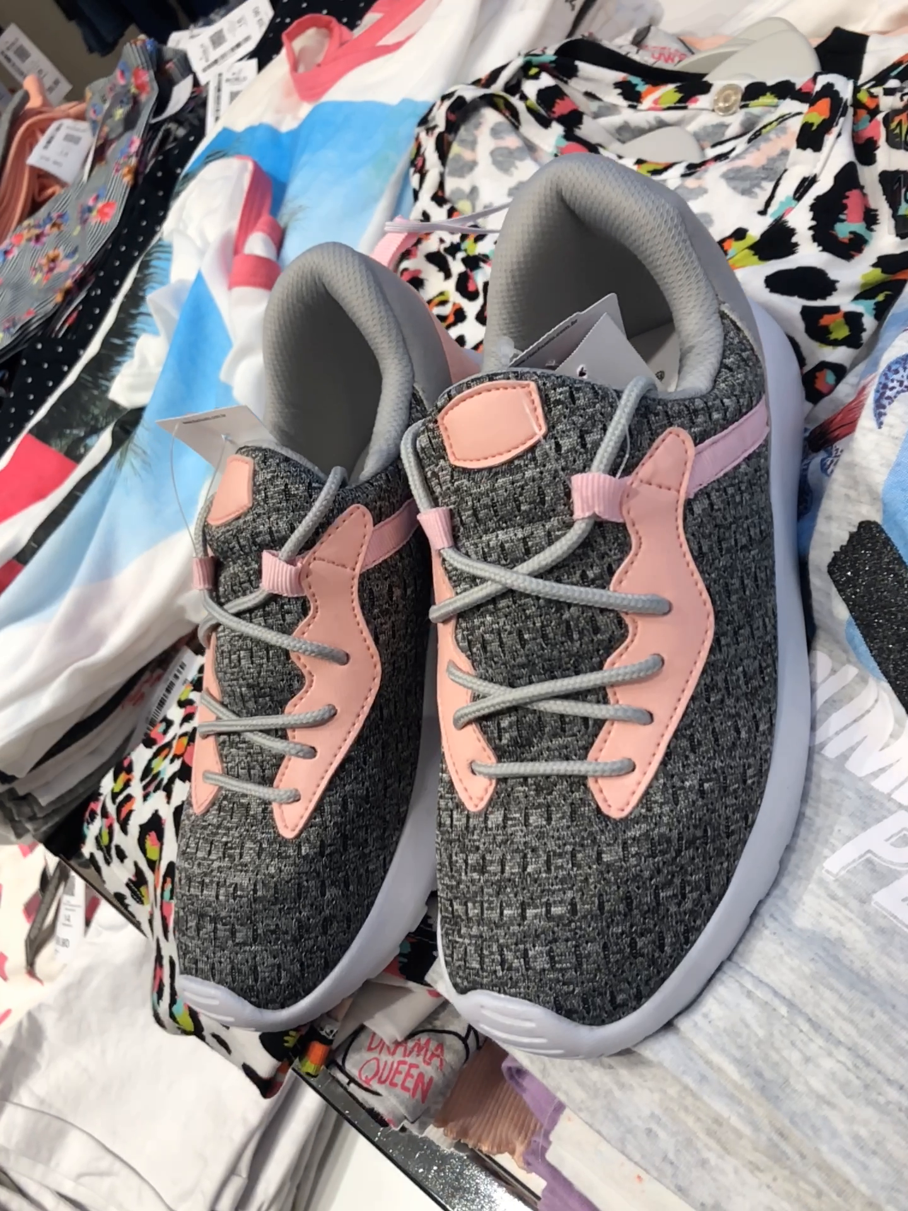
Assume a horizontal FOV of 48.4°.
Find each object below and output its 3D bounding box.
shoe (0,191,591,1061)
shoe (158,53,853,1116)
[{"bbox_3d":[-0.045,0.006,0.311,0.100,0.099,0.220,-3,63,38],"label":"shoe"},{"bbox_3d":[0.028,-0.003,0.250,0.100,0.099,0.211,-6,62,36],"label":"shoe"}]
